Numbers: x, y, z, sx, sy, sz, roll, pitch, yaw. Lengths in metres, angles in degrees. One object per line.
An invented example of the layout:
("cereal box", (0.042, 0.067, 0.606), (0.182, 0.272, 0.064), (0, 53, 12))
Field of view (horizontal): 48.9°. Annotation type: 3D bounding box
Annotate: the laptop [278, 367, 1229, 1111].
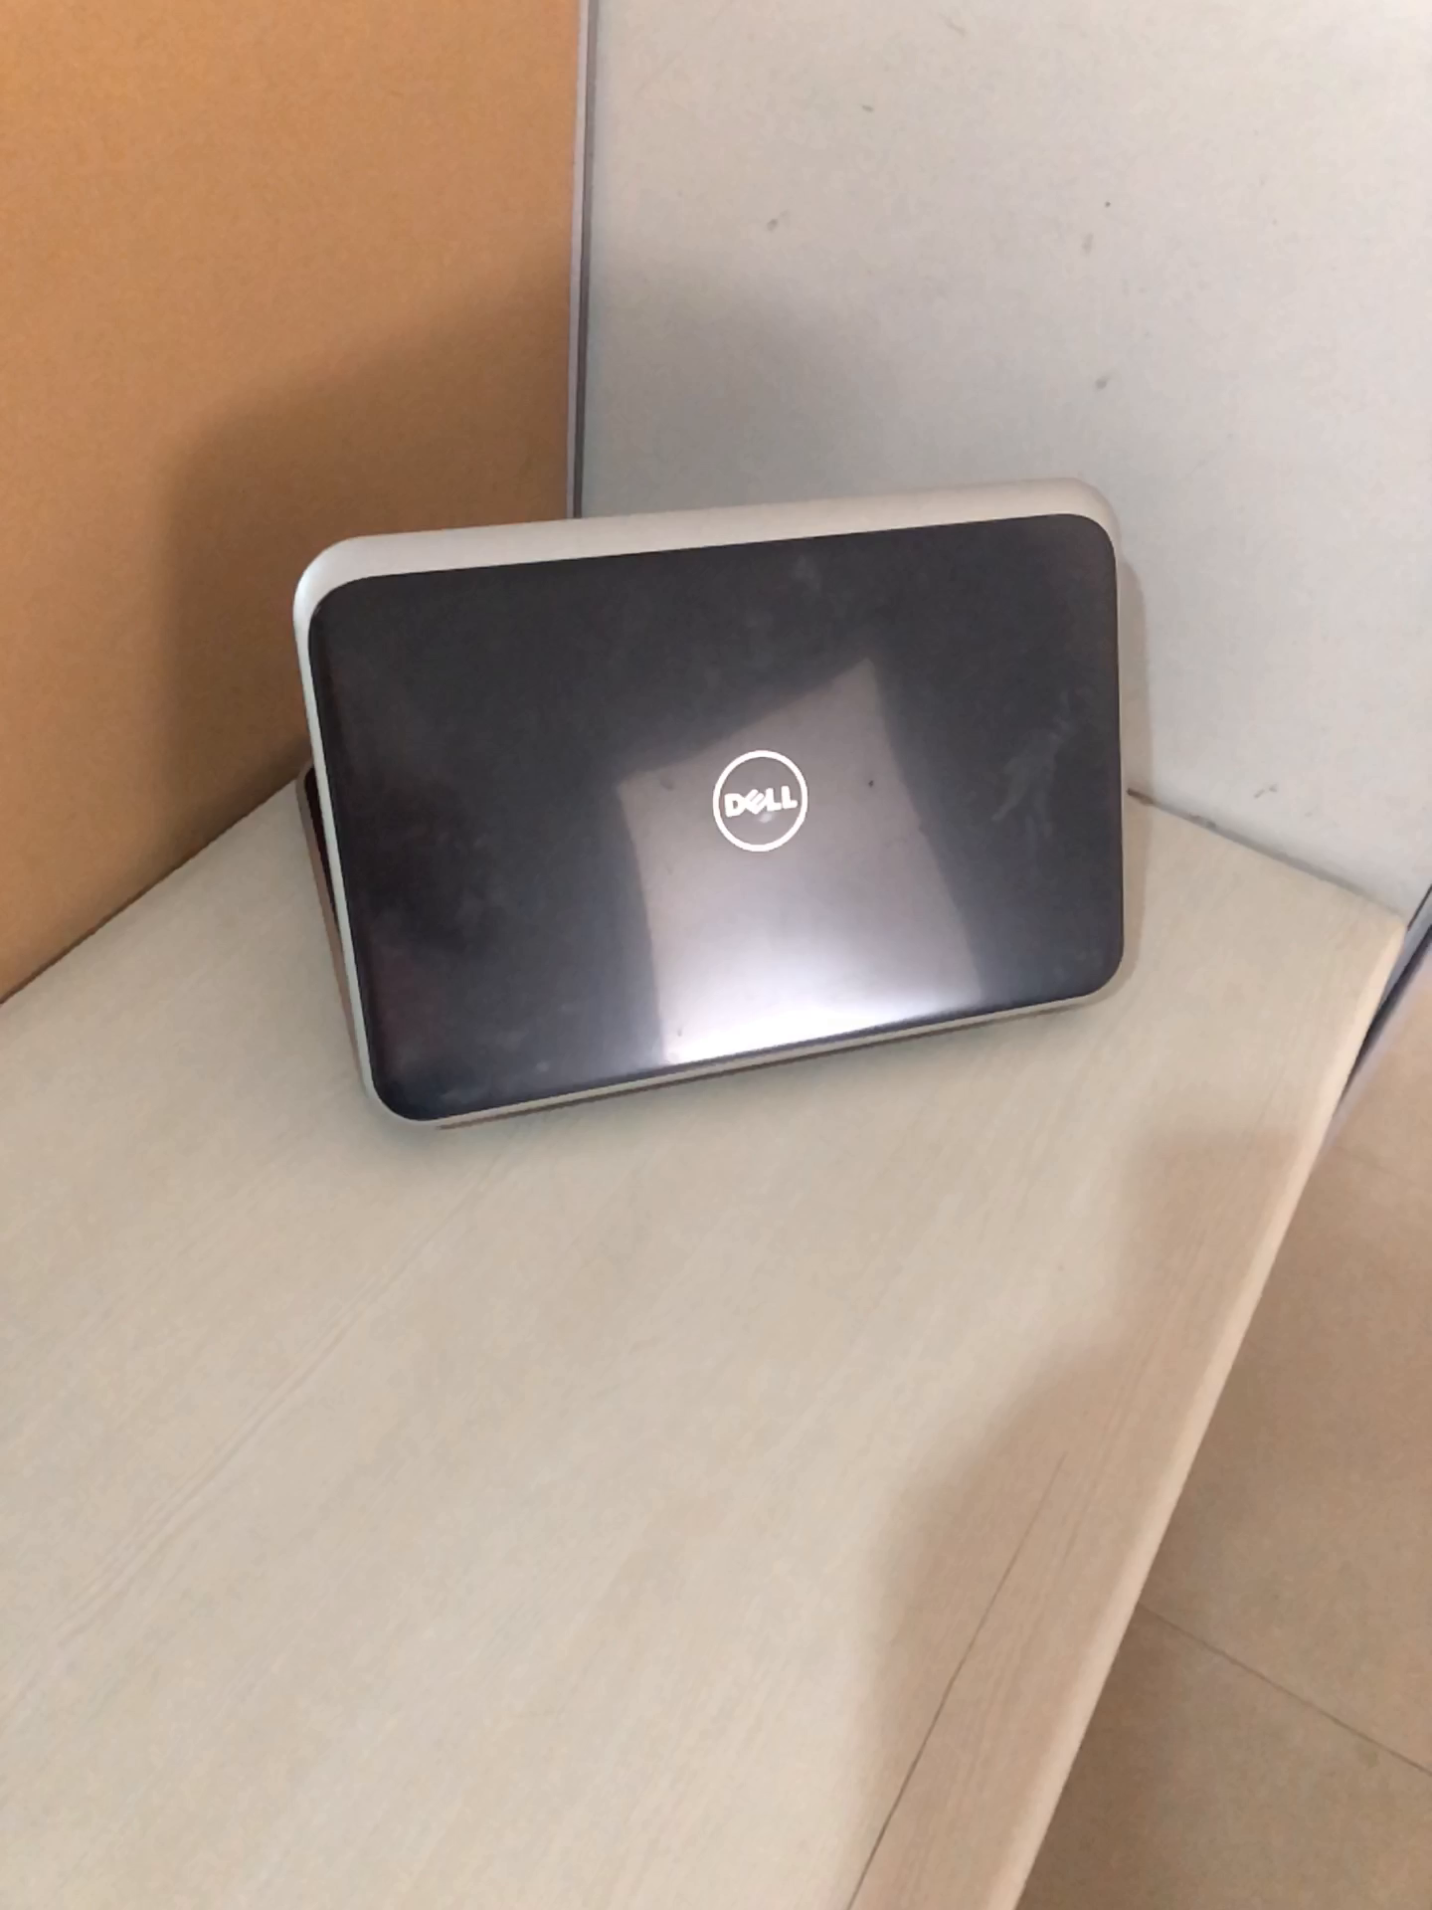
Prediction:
("laptop", (0.000, -0.114, 0.723), (0.348, 0.192, 0.241), (-9, 48, -18))
